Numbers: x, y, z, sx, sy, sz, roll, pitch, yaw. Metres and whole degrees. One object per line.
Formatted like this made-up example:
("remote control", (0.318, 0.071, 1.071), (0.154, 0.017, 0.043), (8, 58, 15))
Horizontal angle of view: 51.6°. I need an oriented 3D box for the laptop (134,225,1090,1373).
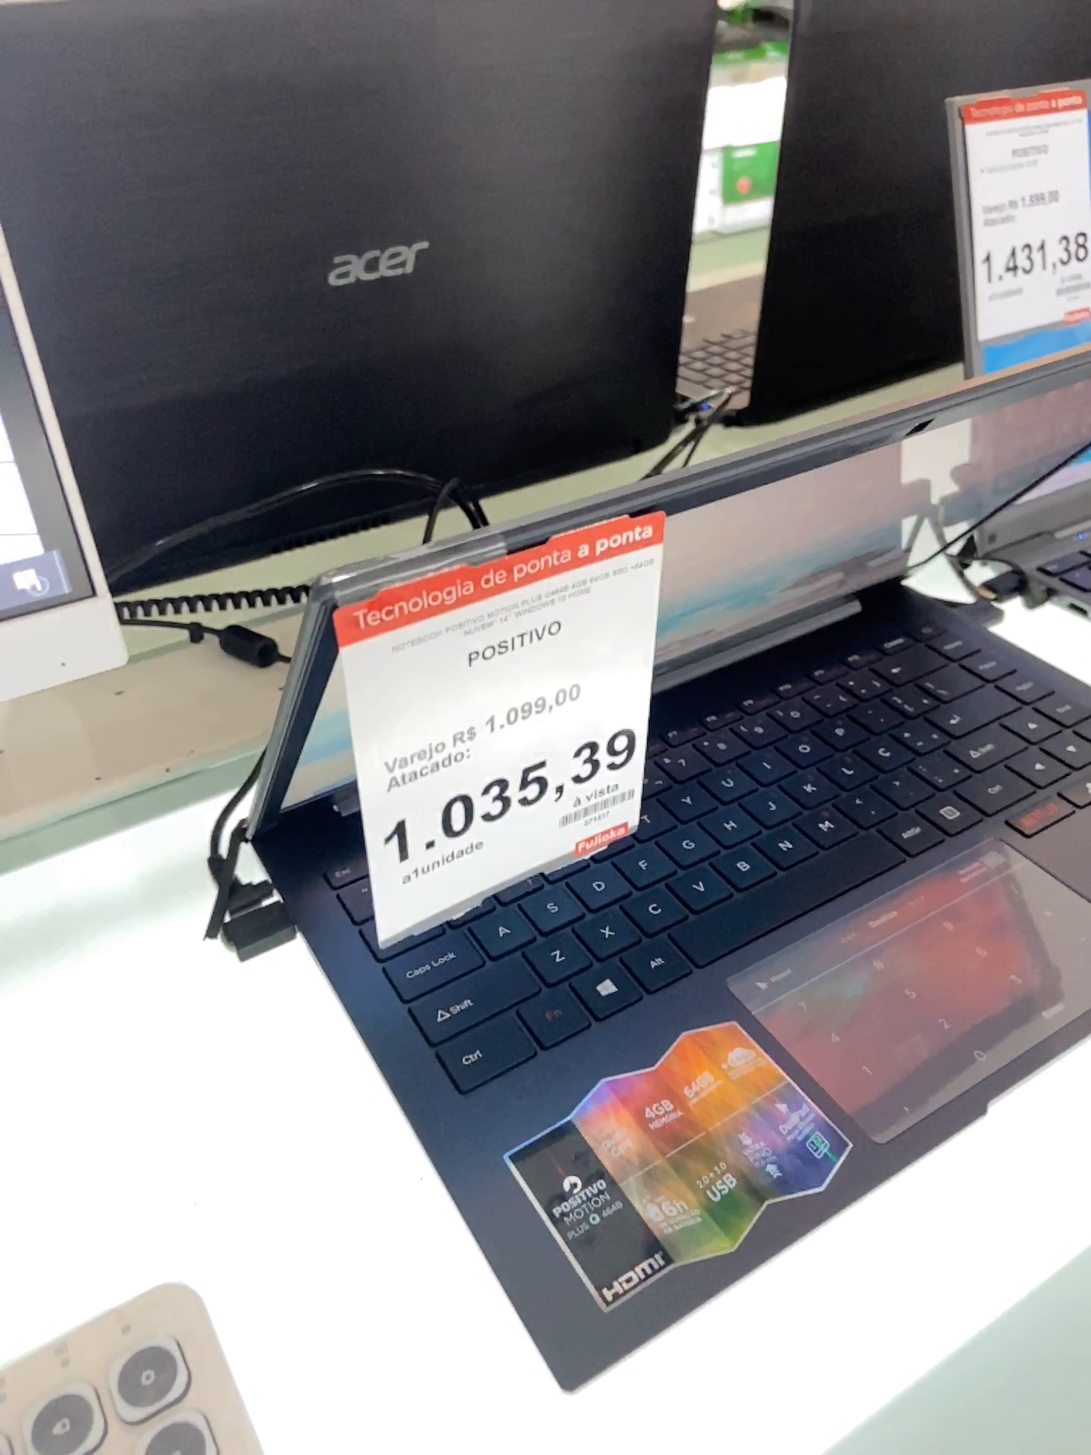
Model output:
("laptop", (0.086, -0.027, 0.361), (0.334, 0.163, 0.223), (-21, 40, -24))
